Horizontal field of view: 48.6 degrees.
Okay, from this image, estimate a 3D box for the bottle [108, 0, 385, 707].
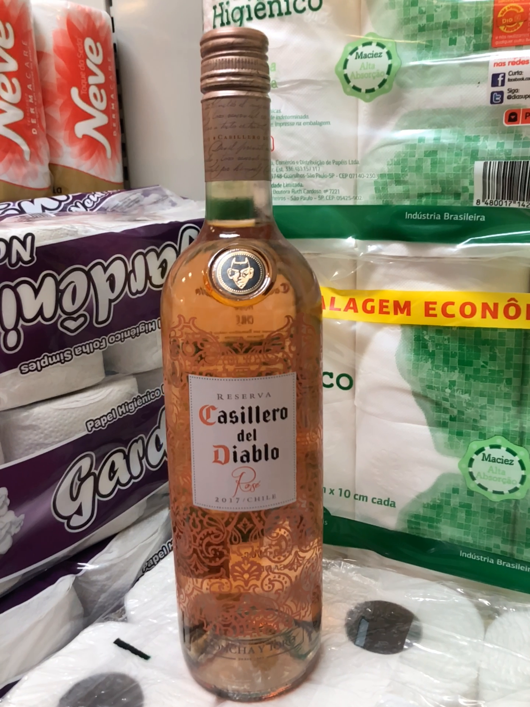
[{"bbox_3d":[0.004,-0.001,0.265,0.090,0.309,0.080,-1,14,7],"label":"bottle"}]
